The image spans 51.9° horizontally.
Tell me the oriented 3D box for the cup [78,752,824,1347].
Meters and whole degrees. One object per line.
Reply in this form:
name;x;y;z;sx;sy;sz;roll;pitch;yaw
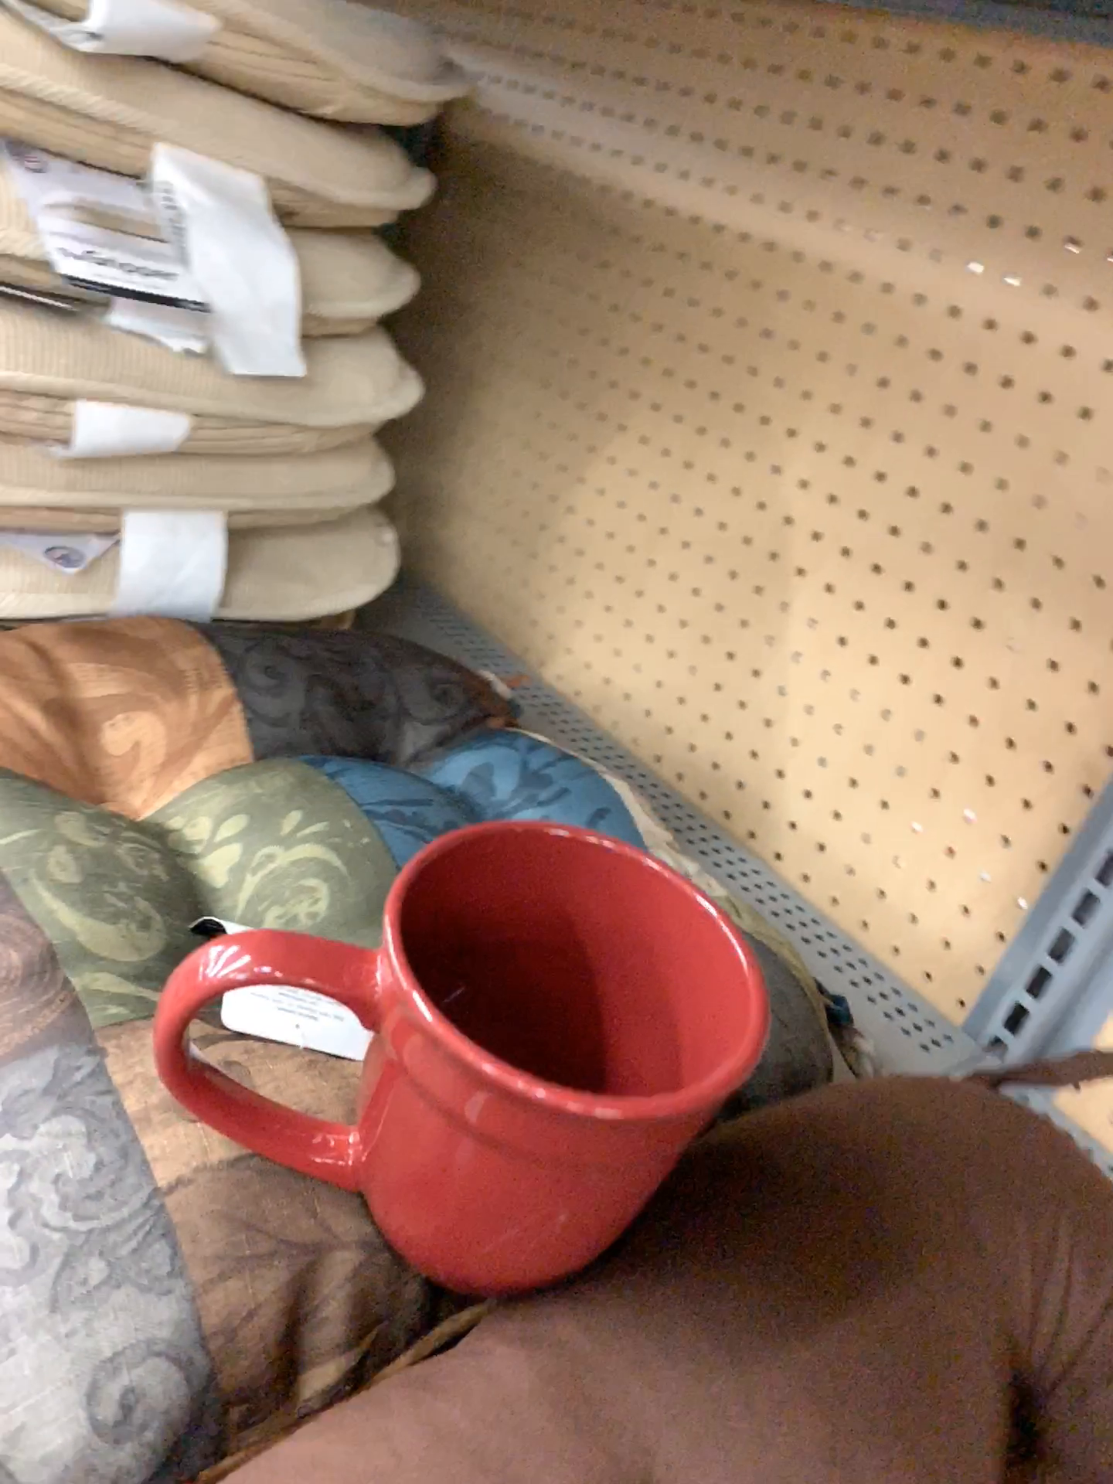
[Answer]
cup;-0.033;0.076;0.293;0.150;0.090;0.100;6;34;-20
